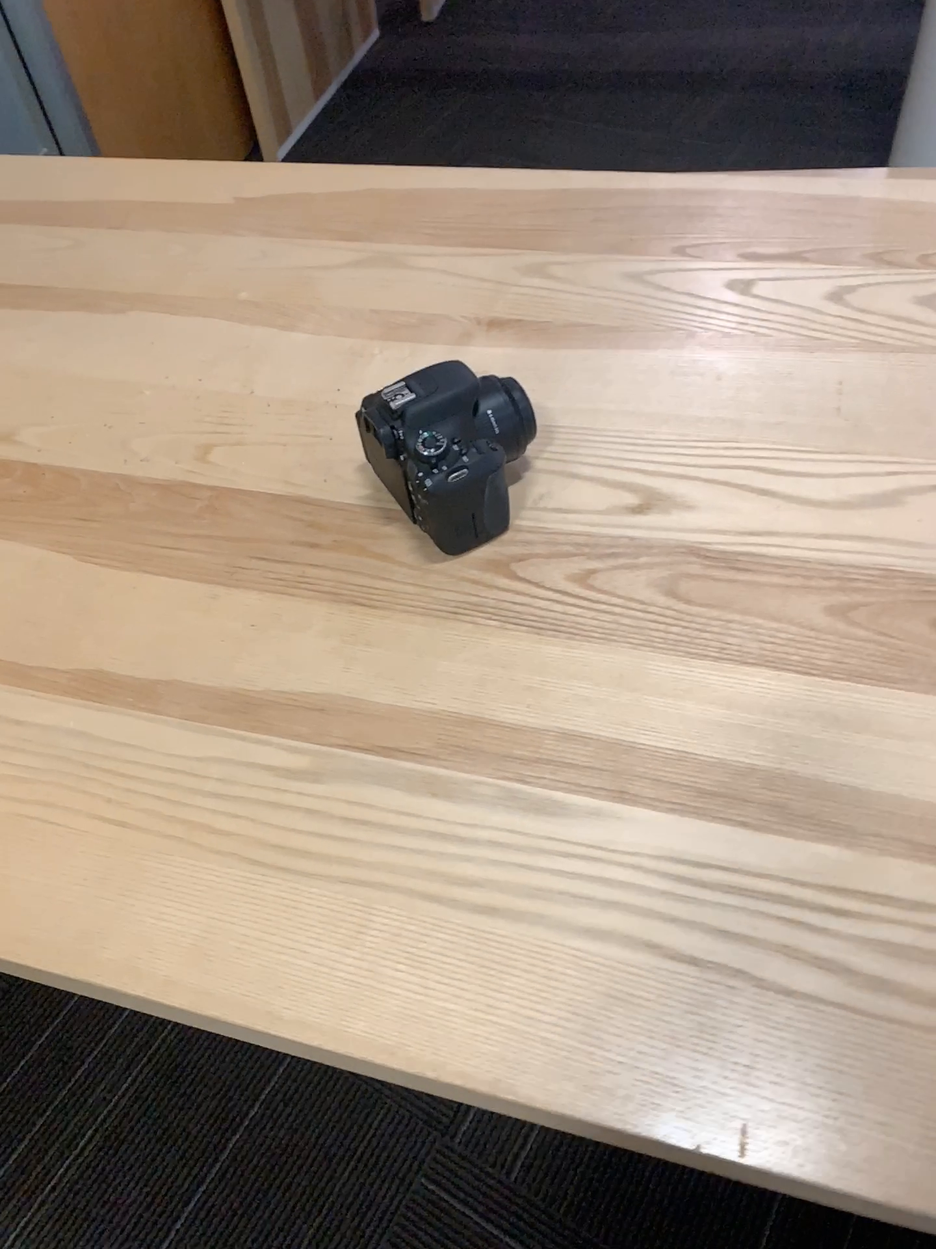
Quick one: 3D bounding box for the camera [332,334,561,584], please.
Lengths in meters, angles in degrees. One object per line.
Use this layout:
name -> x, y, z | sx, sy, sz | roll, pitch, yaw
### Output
camera -> -0.014, -0.121, 0.694 | 0.112, 0.094, 0.120 | -27, 52, -14
